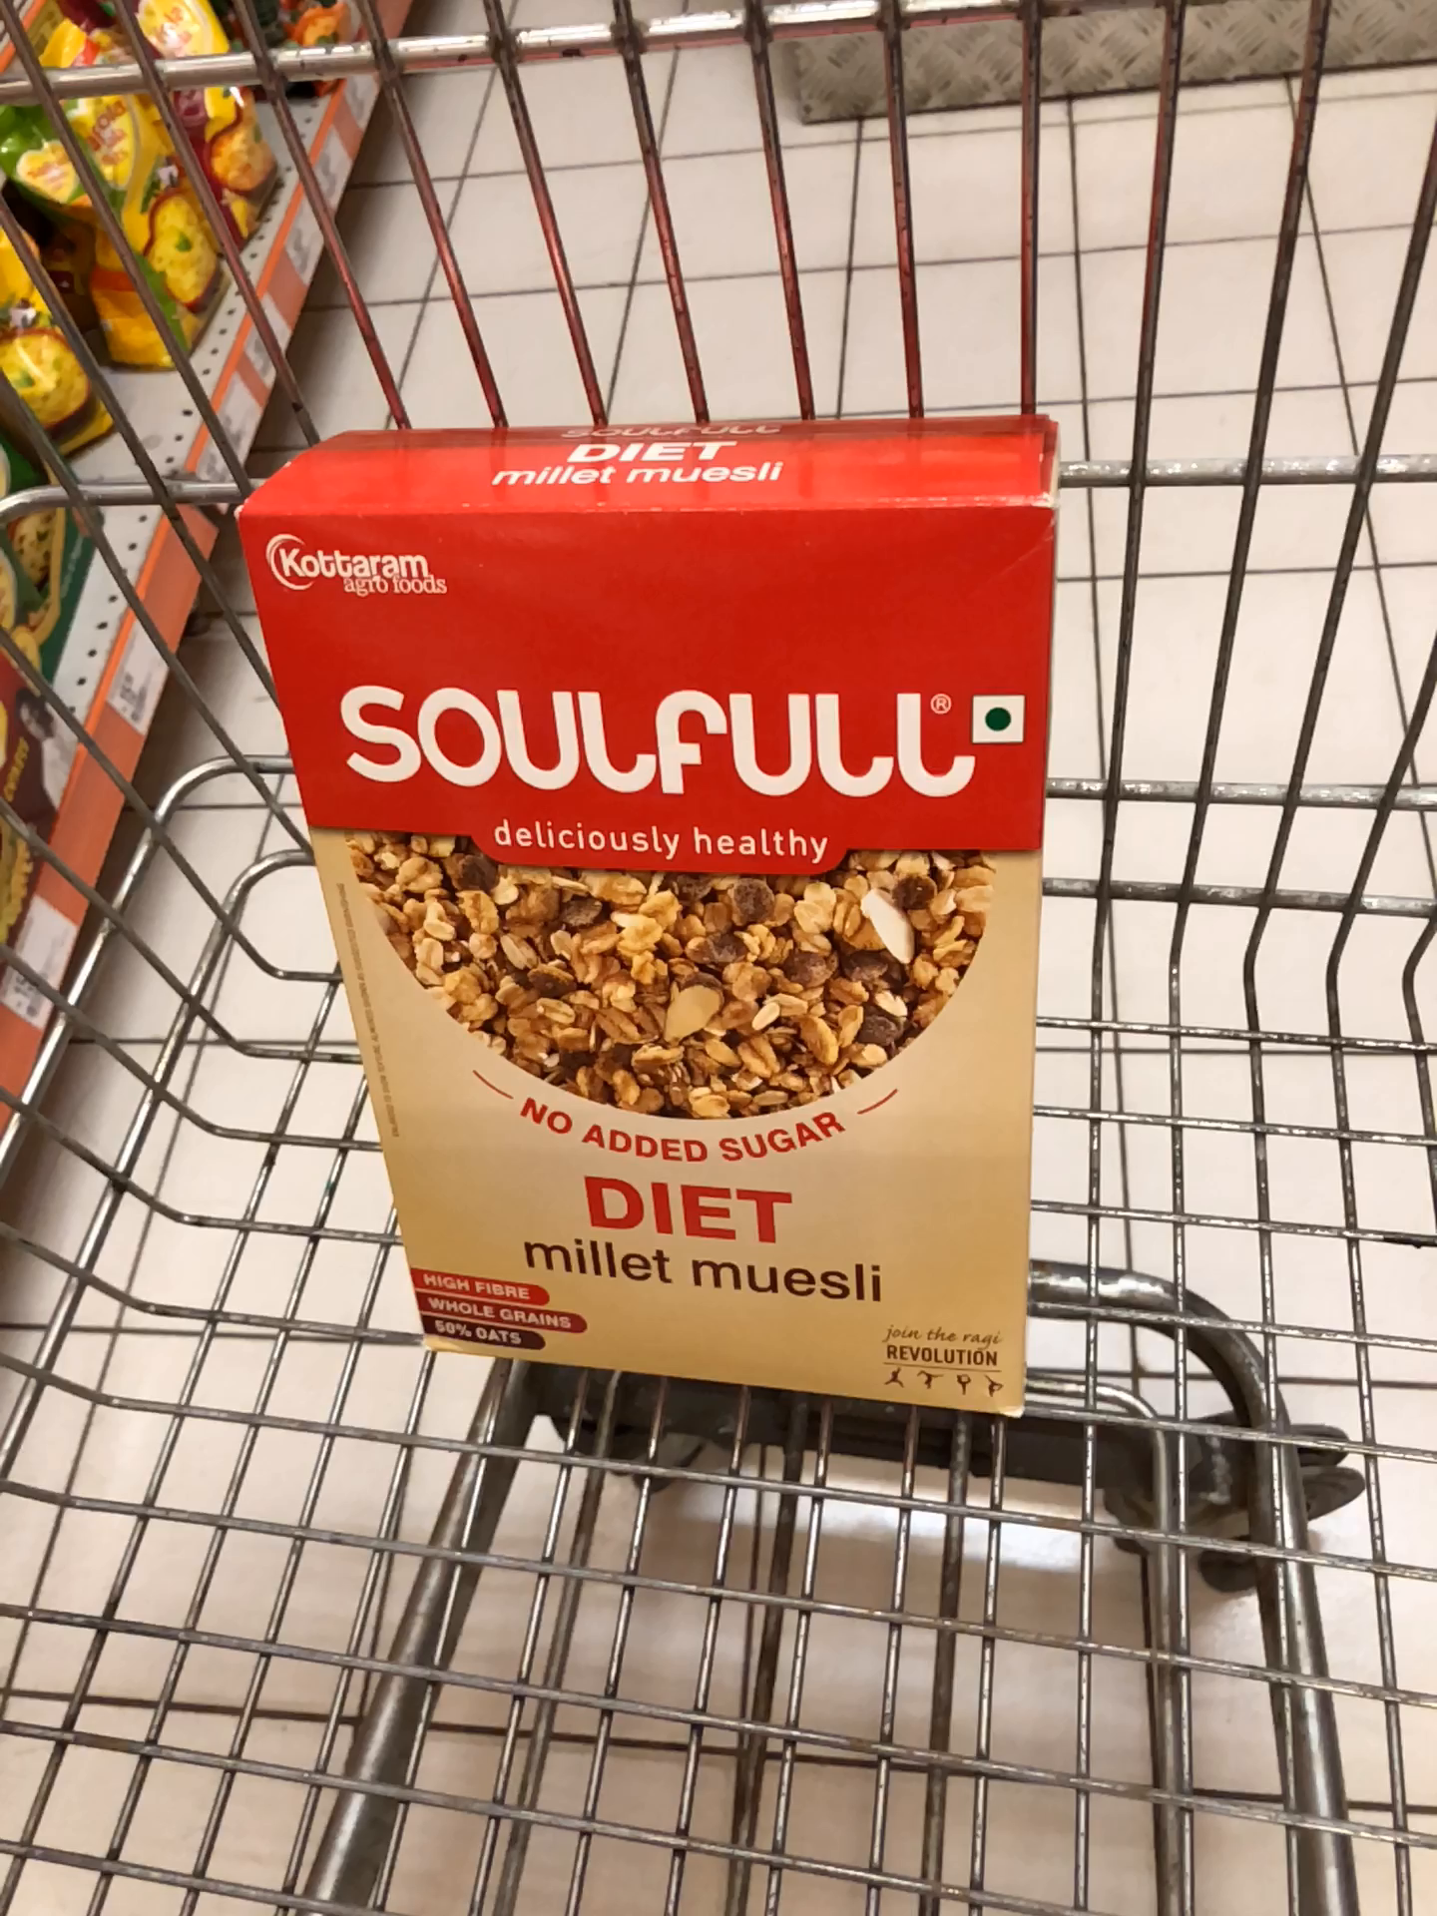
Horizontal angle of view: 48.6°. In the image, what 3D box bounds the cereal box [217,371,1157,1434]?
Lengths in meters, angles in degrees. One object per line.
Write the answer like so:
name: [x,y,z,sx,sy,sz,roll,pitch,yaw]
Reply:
cereal box: [0.003,-0.001,0.371,0.170,0.249,0.050,4,36,12]
